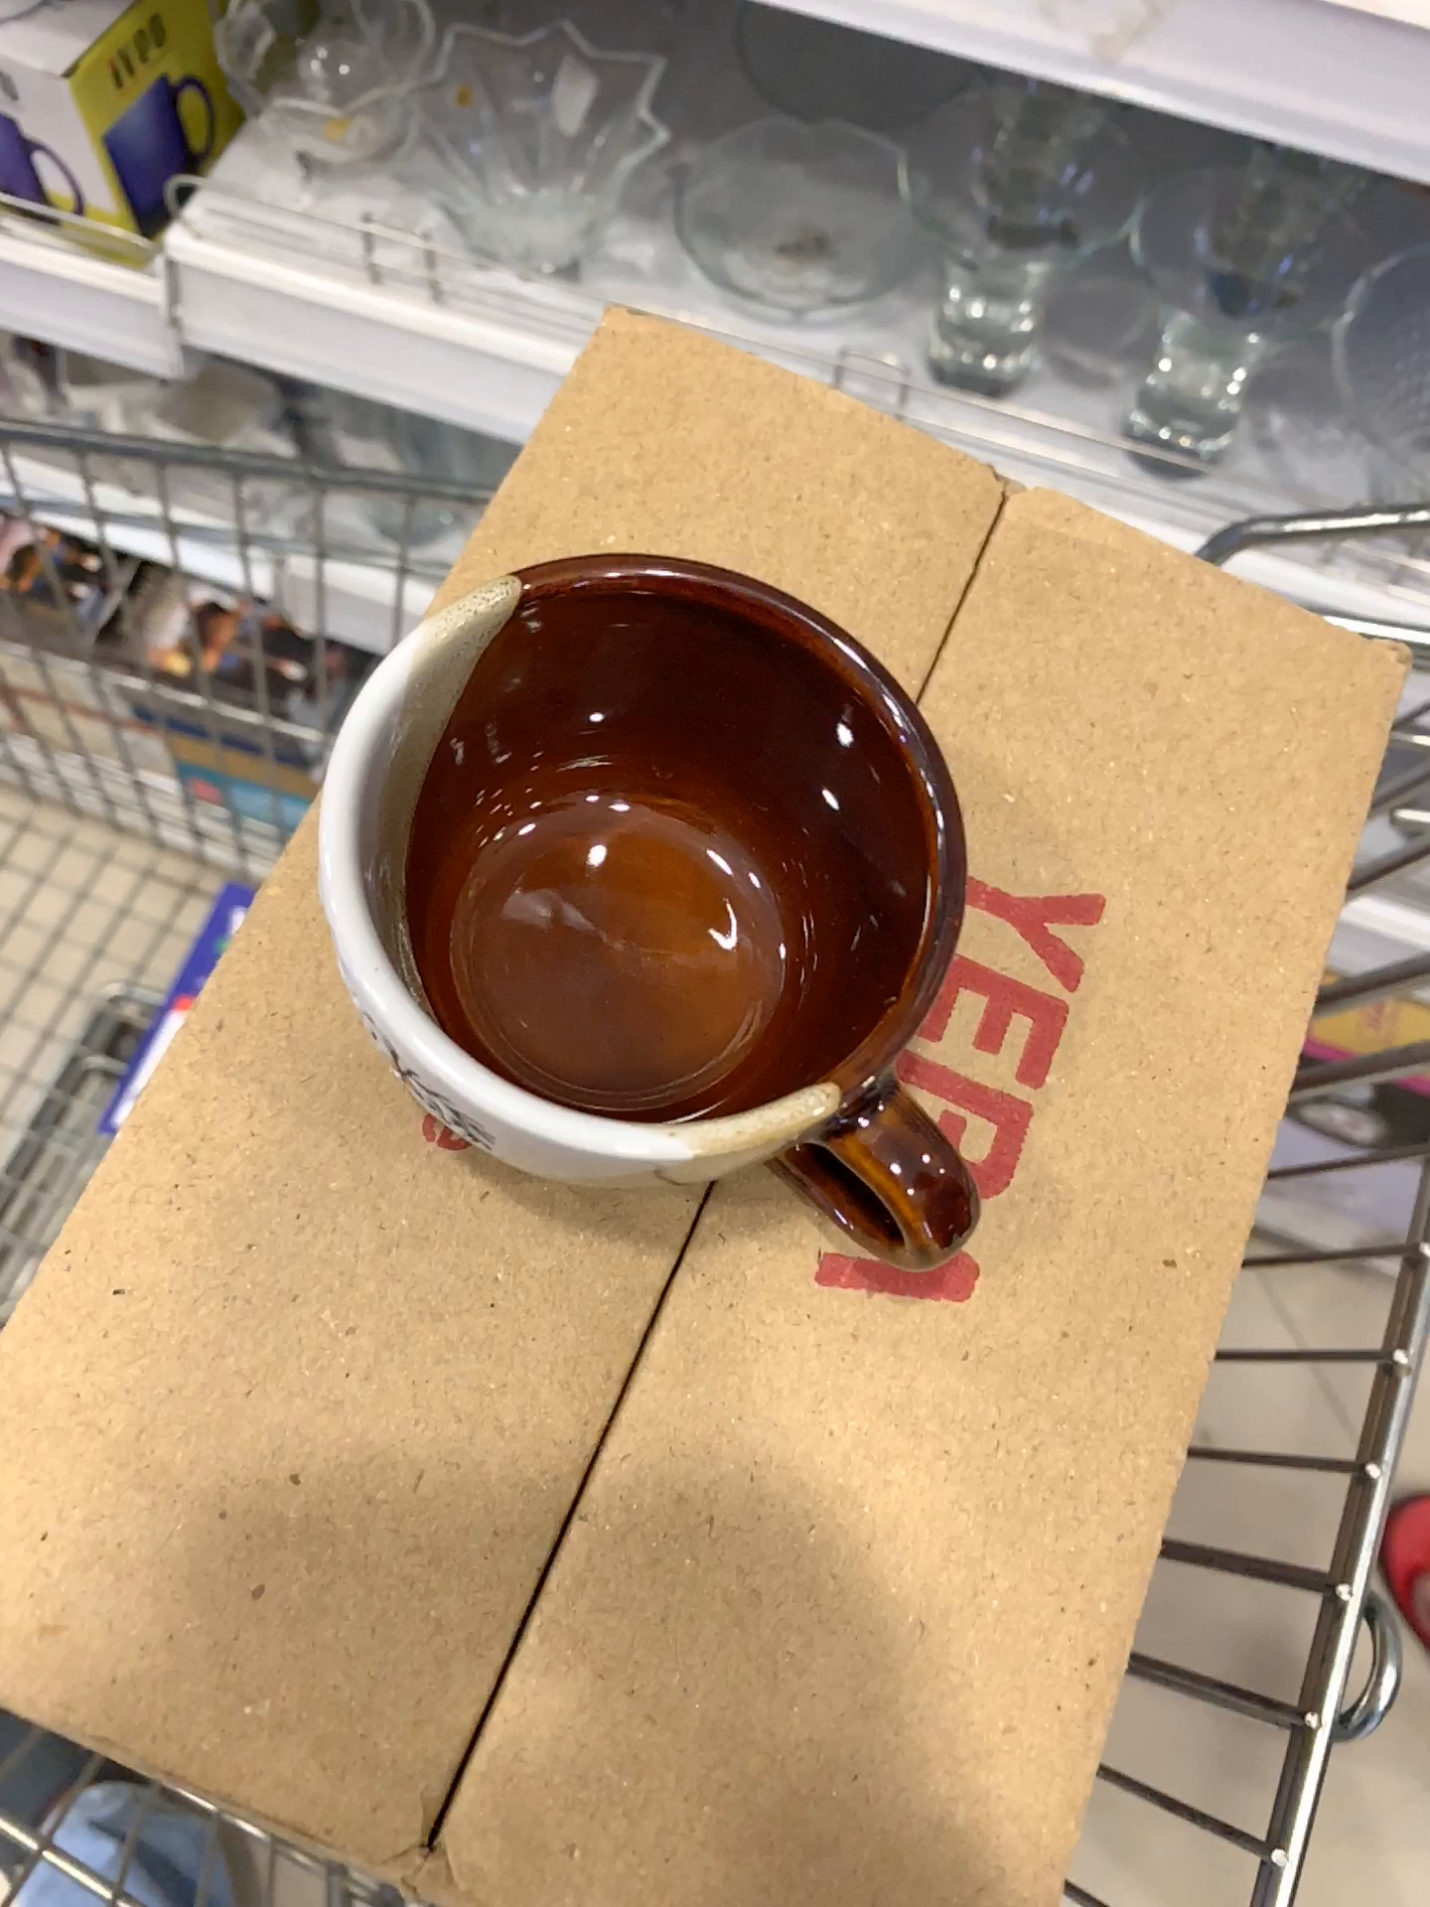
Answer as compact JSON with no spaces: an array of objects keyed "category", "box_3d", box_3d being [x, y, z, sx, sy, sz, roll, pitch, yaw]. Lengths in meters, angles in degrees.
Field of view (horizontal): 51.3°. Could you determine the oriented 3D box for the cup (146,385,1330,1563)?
[{"category":"cup","box_3d":[-0.001,0.004,0.168,0.060,0.060,0.100,-40,81,-16]}]
